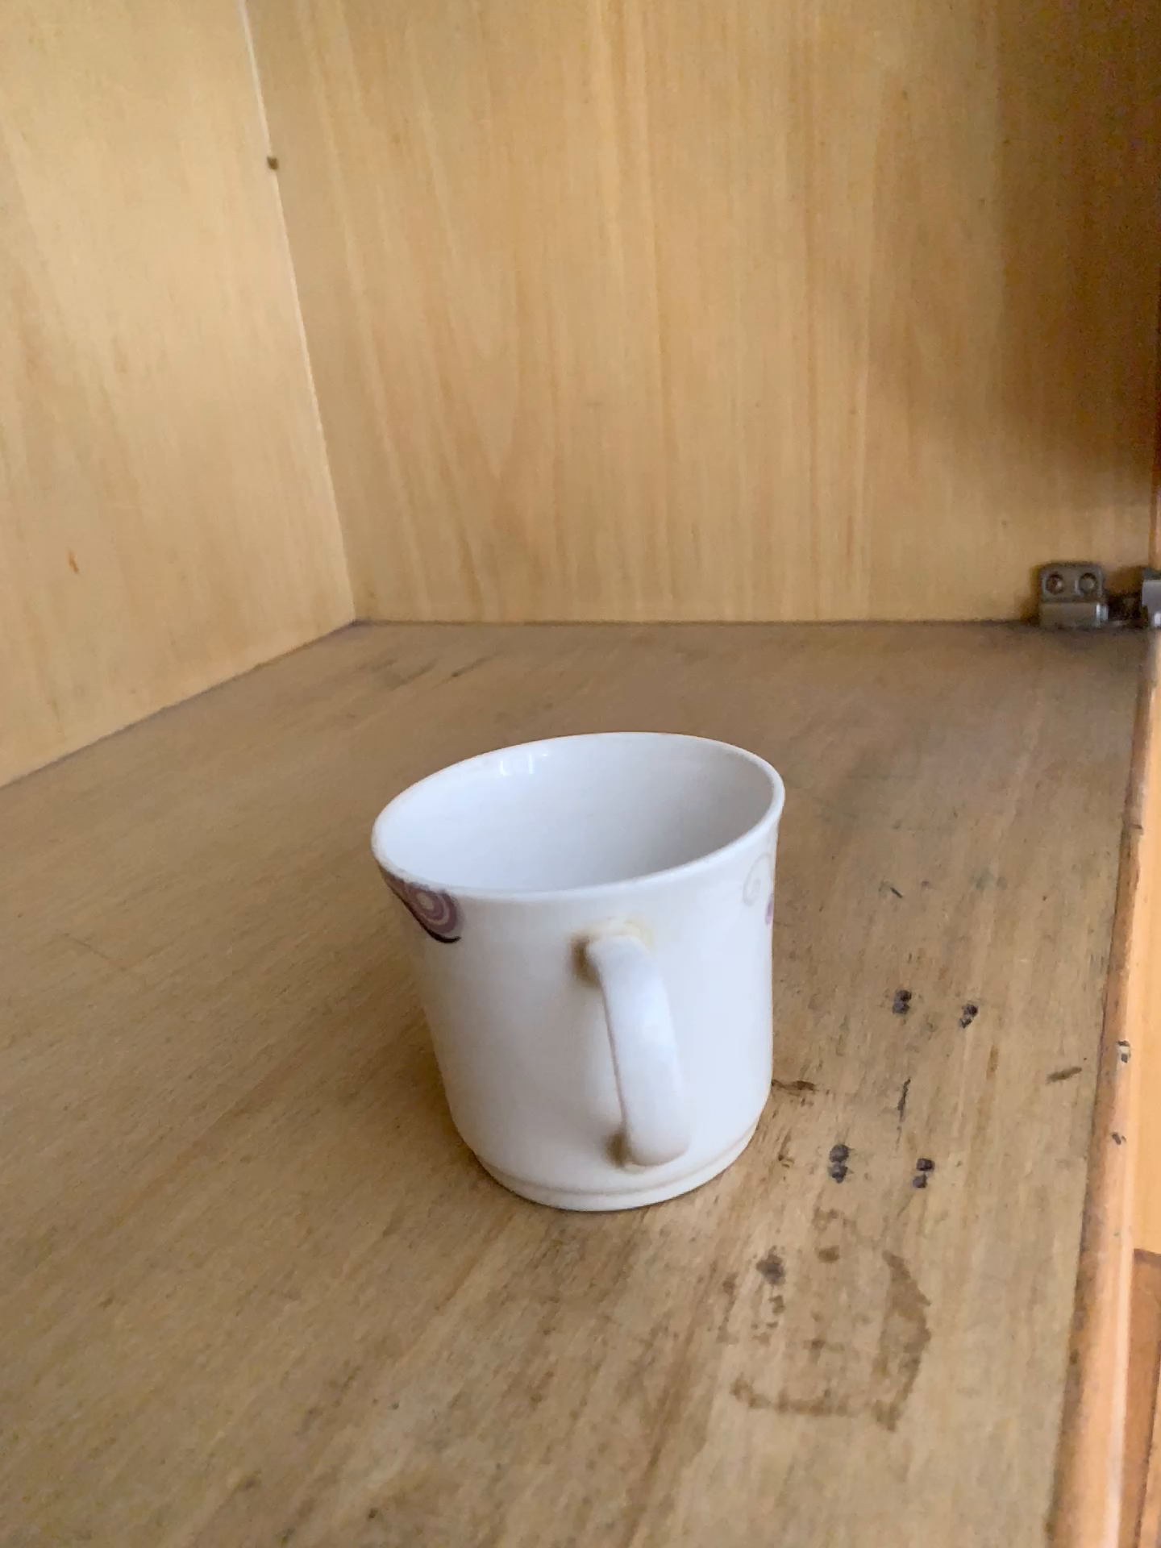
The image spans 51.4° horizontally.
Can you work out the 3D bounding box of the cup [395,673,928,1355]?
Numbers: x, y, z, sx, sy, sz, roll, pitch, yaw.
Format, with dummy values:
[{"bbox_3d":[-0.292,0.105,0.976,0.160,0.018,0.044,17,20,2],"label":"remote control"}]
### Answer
[{"bbox_3d":[0.009,0.033,0.211,0.070,0.070,0.091,-8,21,-4],"label":"cup"}]
